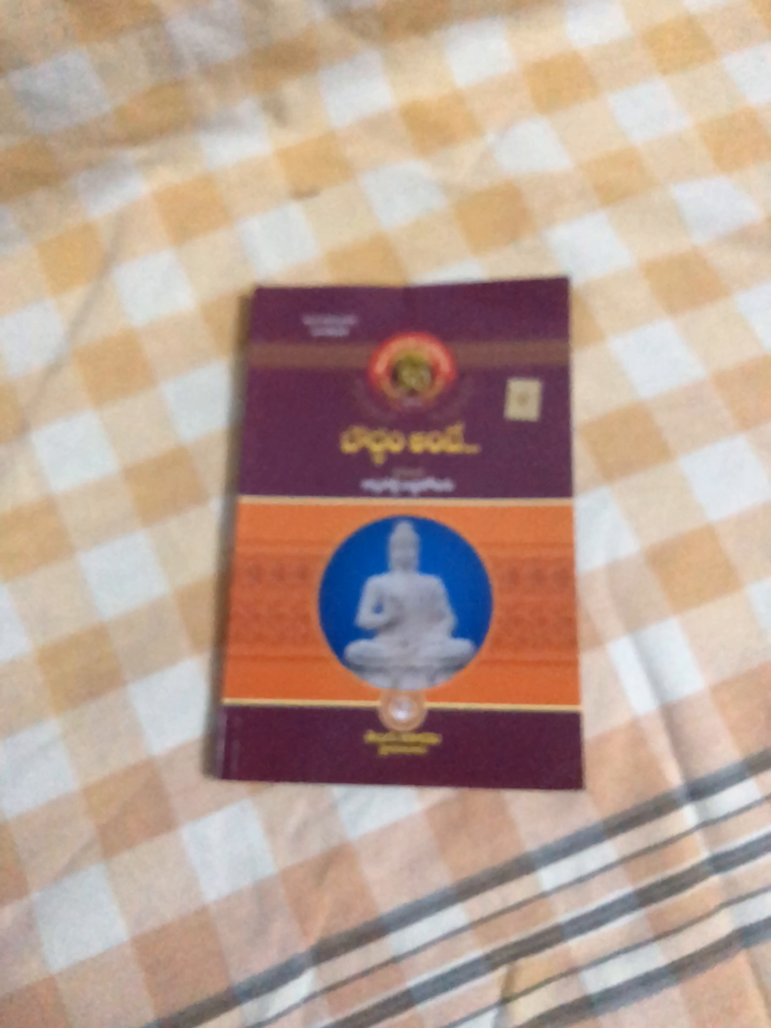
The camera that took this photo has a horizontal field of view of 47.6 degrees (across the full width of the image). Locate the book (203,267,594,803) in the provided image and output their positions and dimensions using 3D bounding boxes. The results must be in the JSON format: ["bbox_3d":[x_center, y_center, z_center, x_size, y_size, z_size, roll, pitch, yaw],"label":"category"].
[{"bbox_3d":[0.009,0.002,0.397,0.160,0.020,0.240,1,75,1],"label":"book"}]
